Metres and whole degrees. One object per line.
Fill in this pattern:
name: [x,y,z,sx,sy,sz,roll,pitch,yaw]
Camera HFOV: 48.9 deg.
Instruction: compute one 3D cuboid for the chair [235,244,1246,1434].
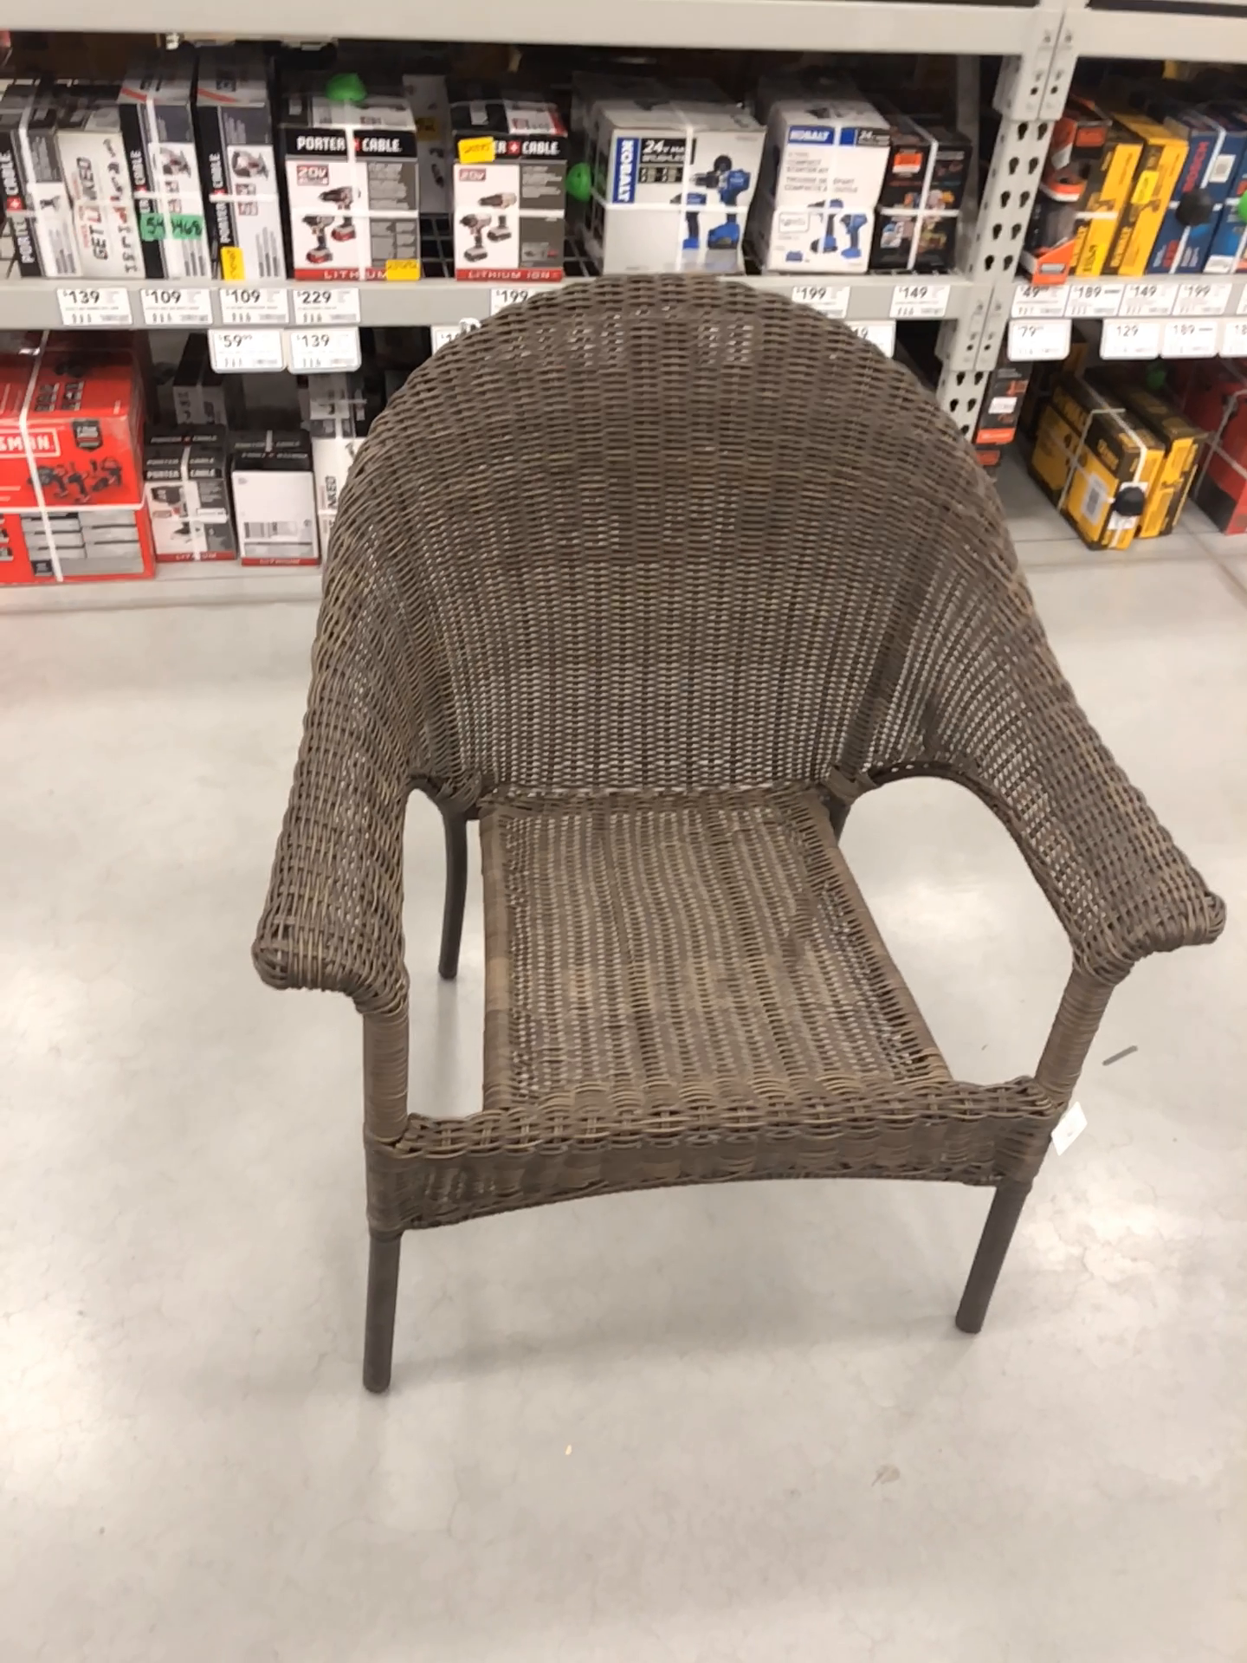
chair: [0.064,-0.014,1.328,0.720,0.797,0.763,-3,43,-9]
